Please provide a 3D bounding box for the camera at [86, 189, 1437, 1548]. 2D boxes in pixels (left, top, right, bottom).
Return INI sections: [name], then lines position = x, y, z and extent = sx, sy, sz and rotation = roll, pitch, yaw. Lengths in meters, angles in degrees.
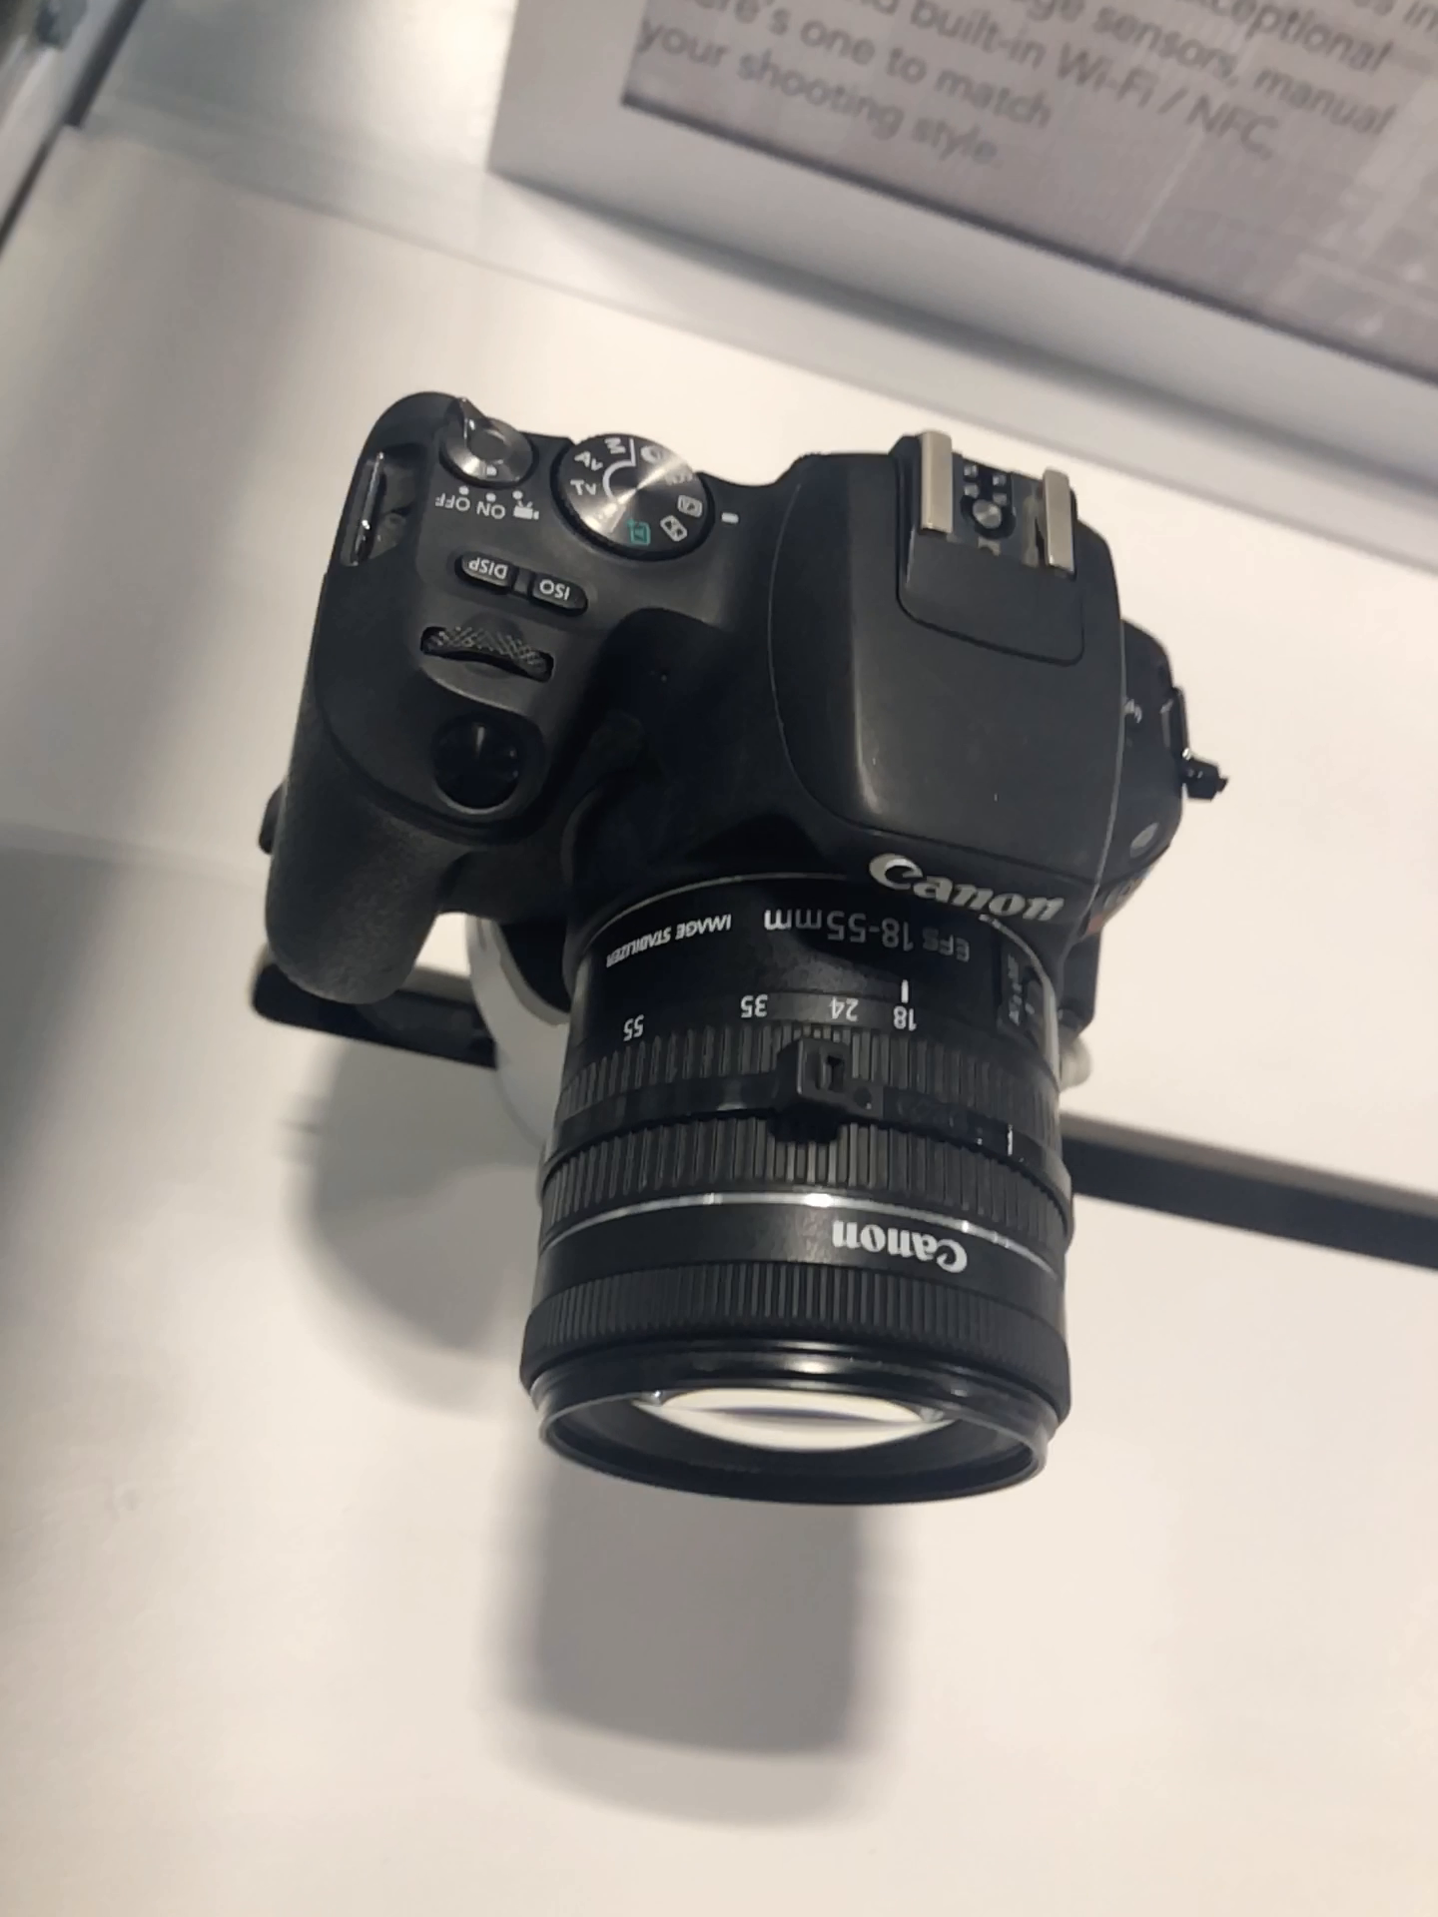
[camera]
position = 0.002, 0.000, 0.200
extent = 0.122, 0.100, 0.110
rotation = 13, 59, -12
